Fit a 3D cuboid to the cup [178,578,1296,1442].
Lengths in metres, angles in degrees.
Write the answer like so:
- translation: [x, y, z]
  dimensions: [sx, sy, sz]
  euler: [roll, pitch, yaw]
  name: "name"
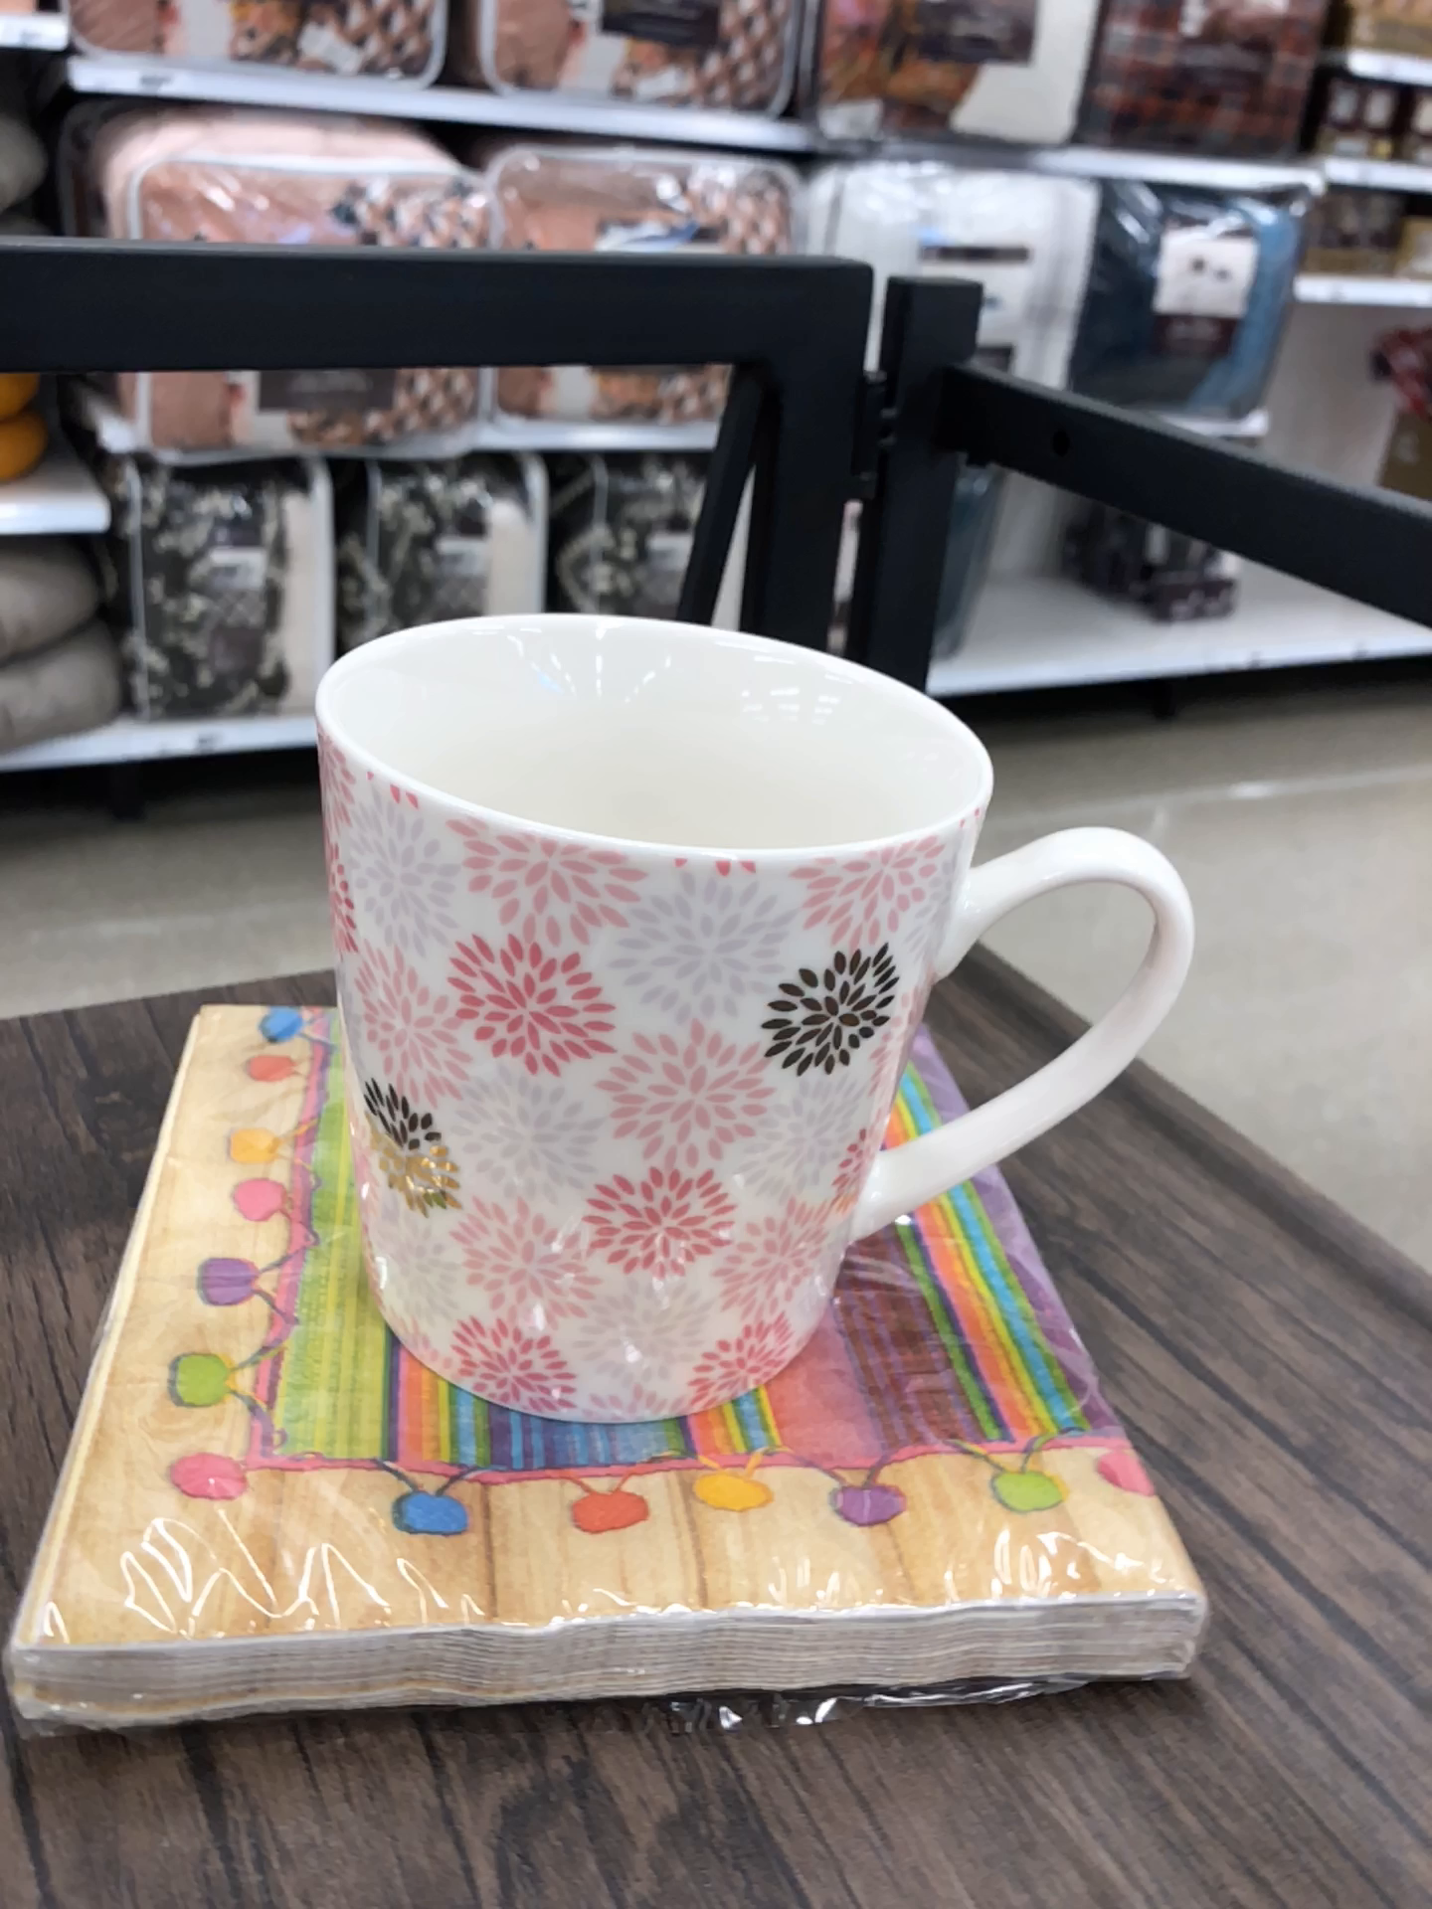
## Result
- translation: [-0.002, 0.005, 0.268]
  dimensions: [0.140, 0.100, 0.100]
  euler: [3, 28, -5]
  name: "cup"
